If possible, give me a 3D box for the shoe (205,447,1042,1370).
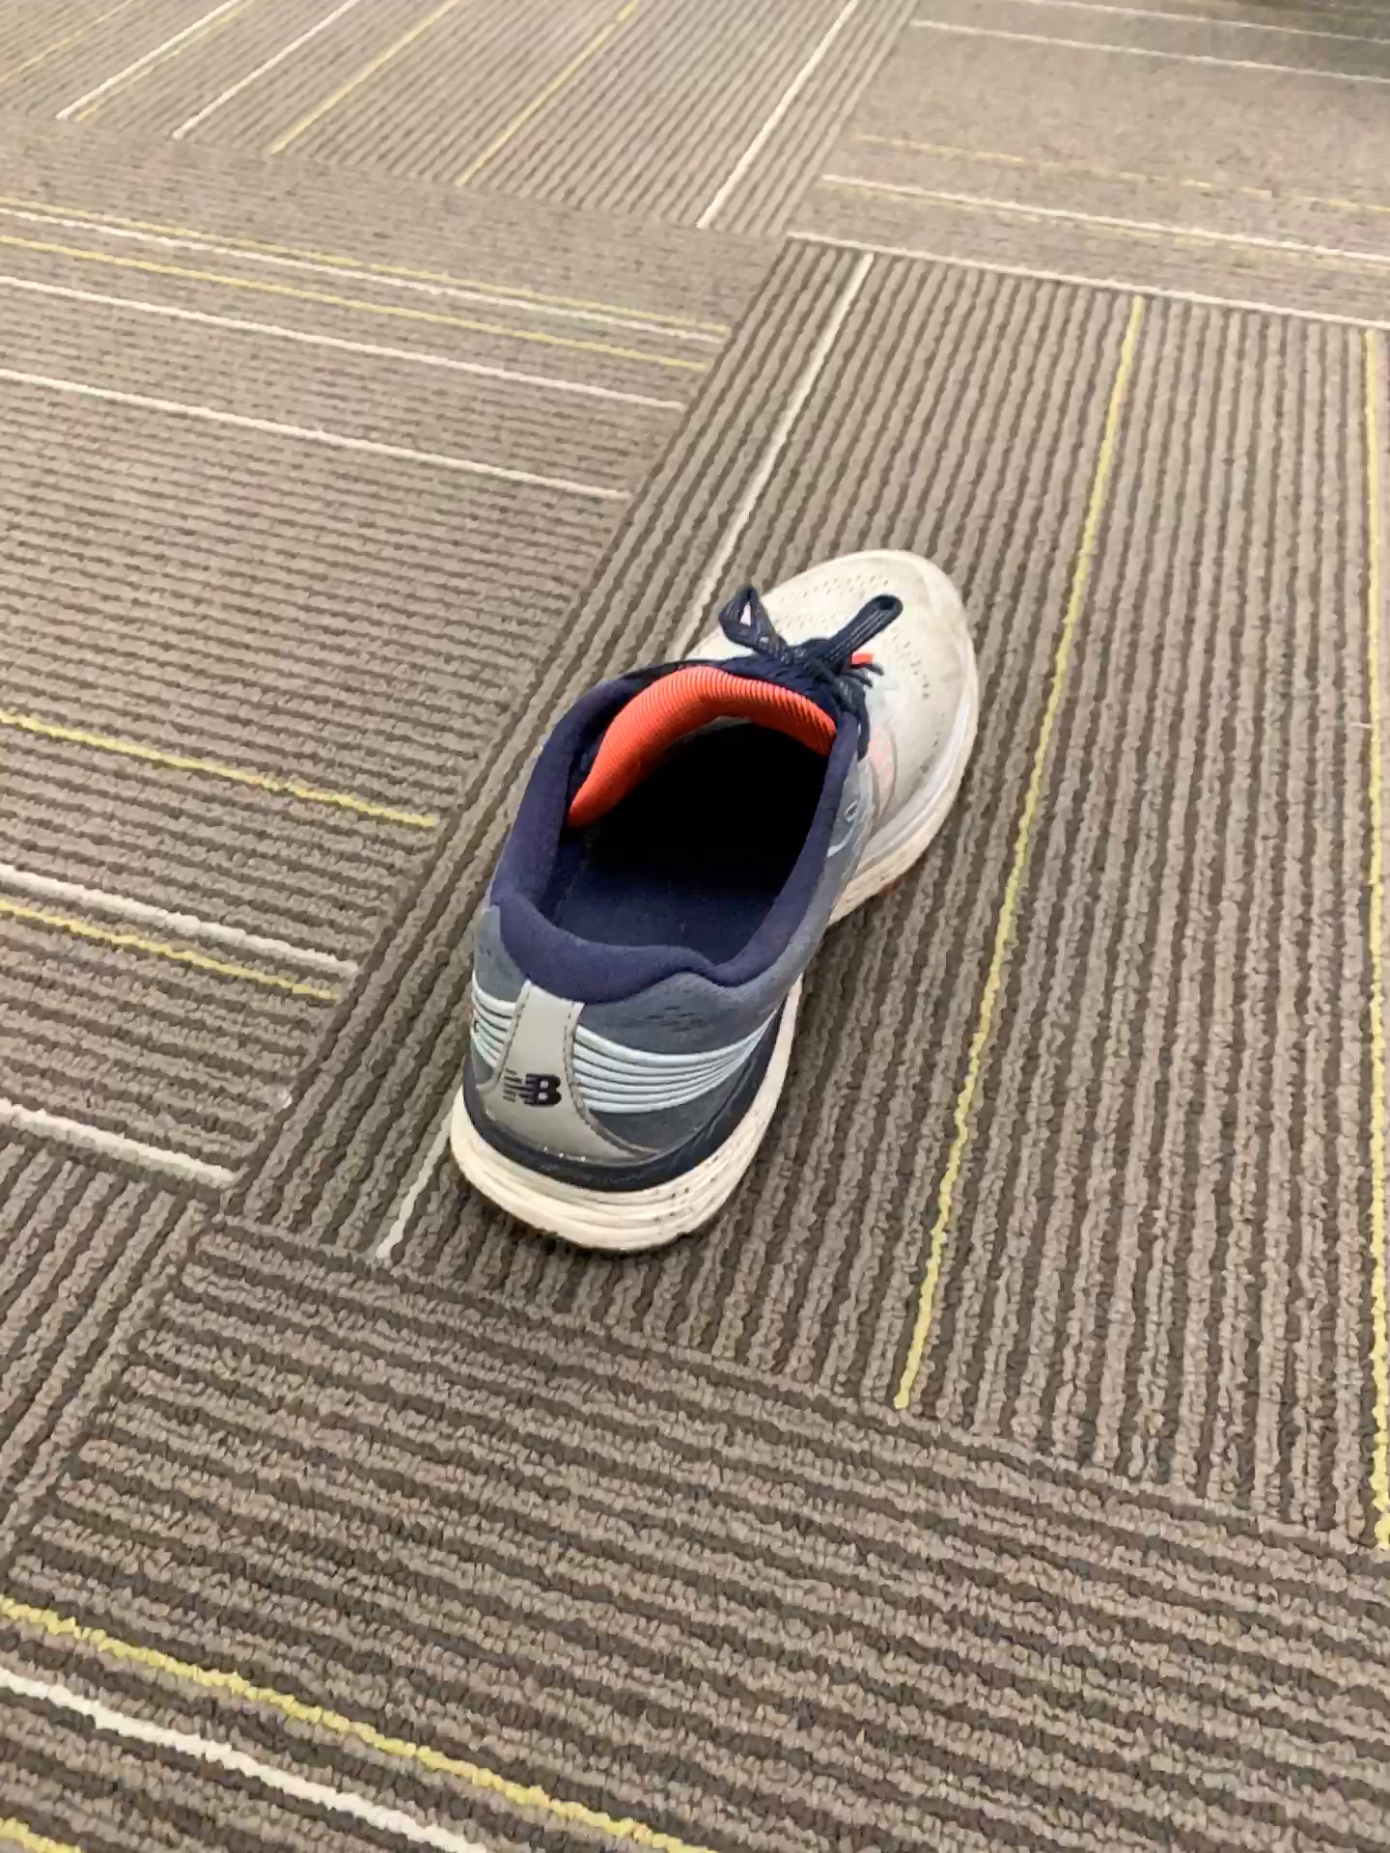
[{"bbox_3d":[-0.002,-0.029,0.454,0.130,0.080,0.291,20,52,15],"label":"shoe"}]
